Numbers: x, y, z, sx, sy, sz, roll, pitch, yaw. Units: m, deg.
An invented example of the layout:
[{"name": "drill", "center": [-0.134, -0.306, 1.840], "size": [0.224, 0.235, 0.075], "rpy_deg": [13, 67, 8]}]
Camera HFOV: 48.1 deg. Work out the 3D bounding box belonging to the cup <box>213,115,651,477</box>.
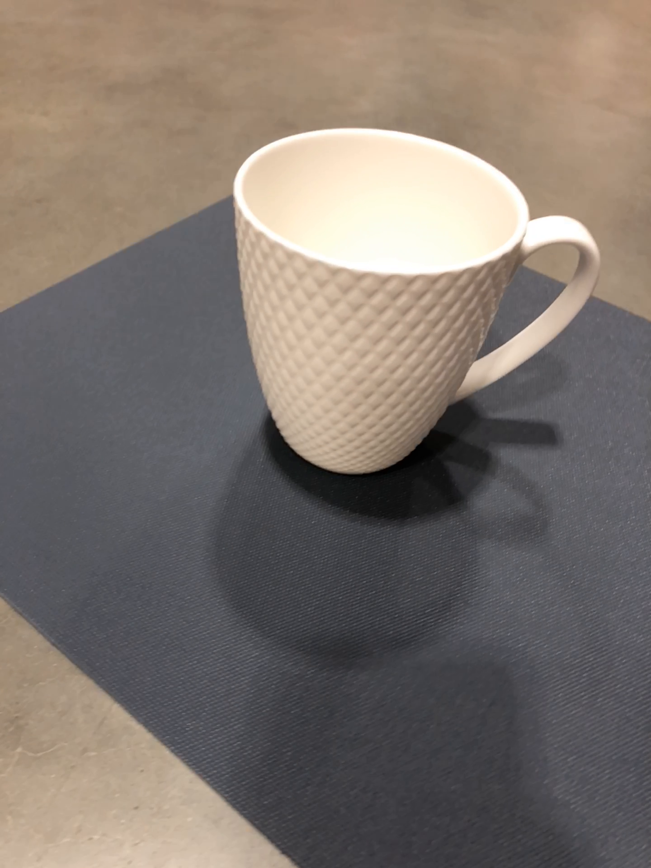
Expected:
[{"name": "cup", "center": [0.029, -0.049, 0.263], "size": [0.130, 0.090, 0.090], "rpy_deg": [0, 45, -5]}]
